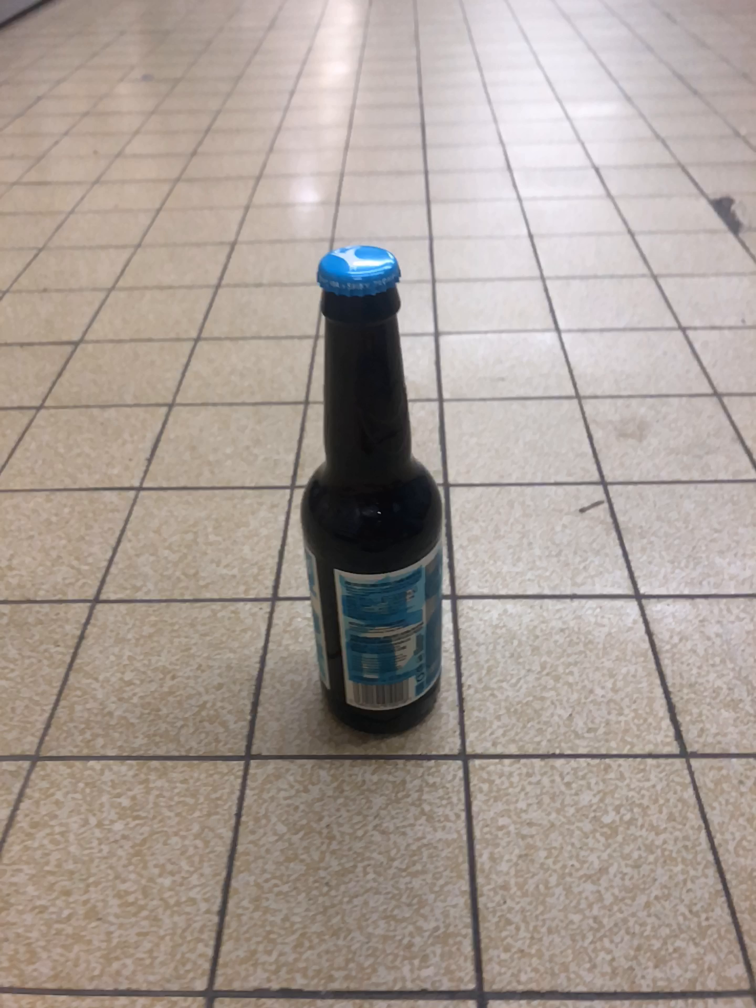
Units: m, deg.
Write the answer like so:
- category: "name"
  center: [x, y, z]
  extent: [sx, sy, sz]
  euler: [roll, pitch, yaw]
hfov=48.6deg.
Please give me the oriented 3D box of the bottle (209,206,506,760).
- category: "bottle"
  center: [-0.003, 0.001, 0.341]
  extent: [0.070, 0.209, 0.070]
  euler: [-2, 39, 2]
